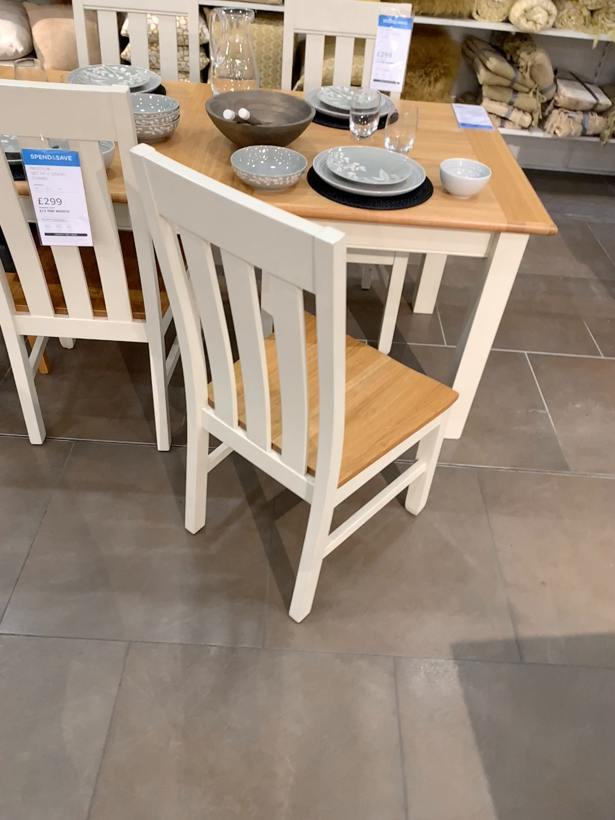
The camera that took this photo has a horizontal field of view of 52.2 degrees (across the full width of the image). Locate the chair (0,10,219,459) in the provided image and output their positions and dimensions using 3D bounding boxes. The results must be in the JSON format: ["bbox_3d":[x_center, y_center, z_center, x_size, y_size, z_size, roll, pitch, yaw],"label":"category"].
[{"bbox_3d":[-0.514,-0.410,1.607,0.471,0.924,0.541,5,42,-1],"label":"chair"}]

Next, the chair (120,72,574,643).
[{"bbox_3d":[0.049,-0.095,1.310,0.503,0.924,0.549,31,48,26],"label":"chair"}]
